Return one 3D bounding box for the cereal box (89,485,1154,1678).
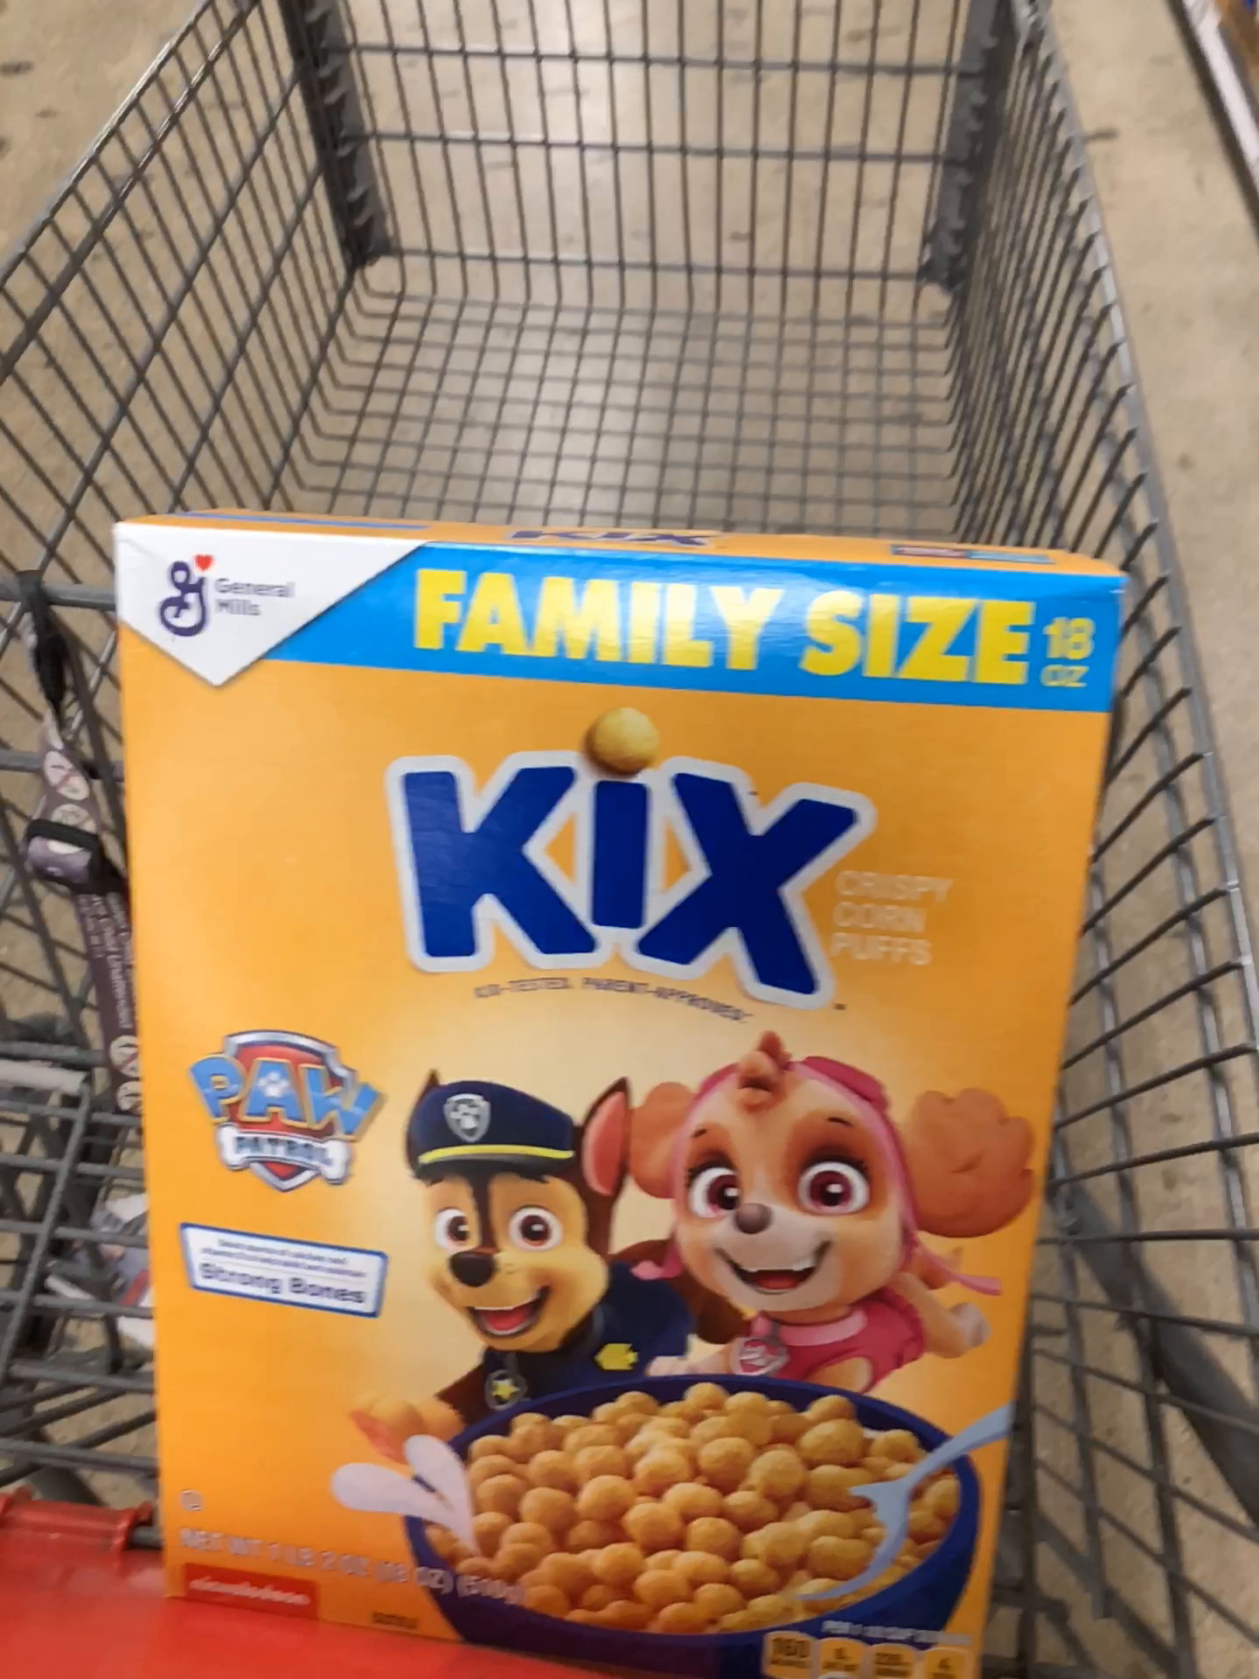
[{"bbox_3d":[-0.009,0.074,0.411,0.250,0.330,0.090,6,17,10],"label":"cereal box"}]
